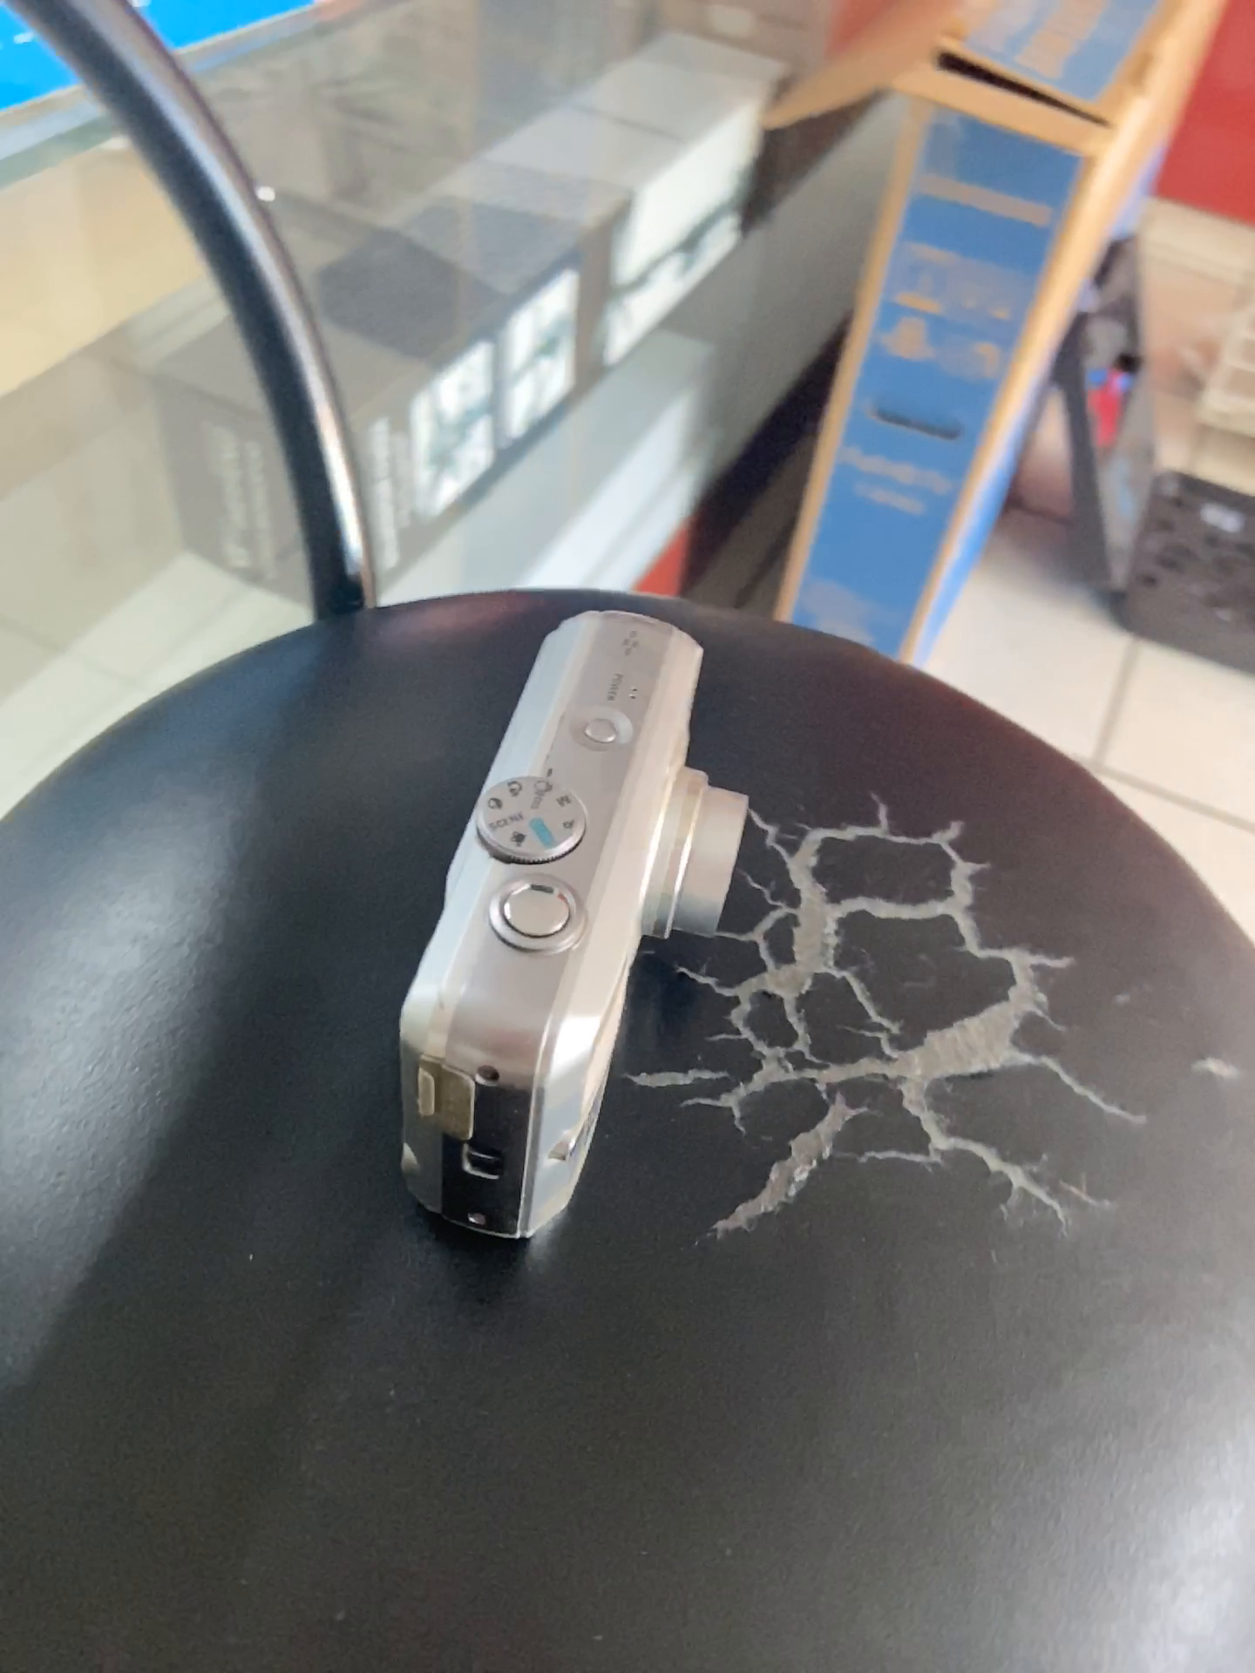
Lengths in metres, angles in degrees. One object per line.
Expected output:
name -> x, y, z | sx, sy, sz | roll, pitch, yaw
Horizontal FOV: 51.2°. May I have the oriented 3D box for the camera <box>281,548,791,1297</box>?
camera -> -0.011, 0.011, 0.219 | 0.050, 0.060, 0.101 | 15, 48, 4
